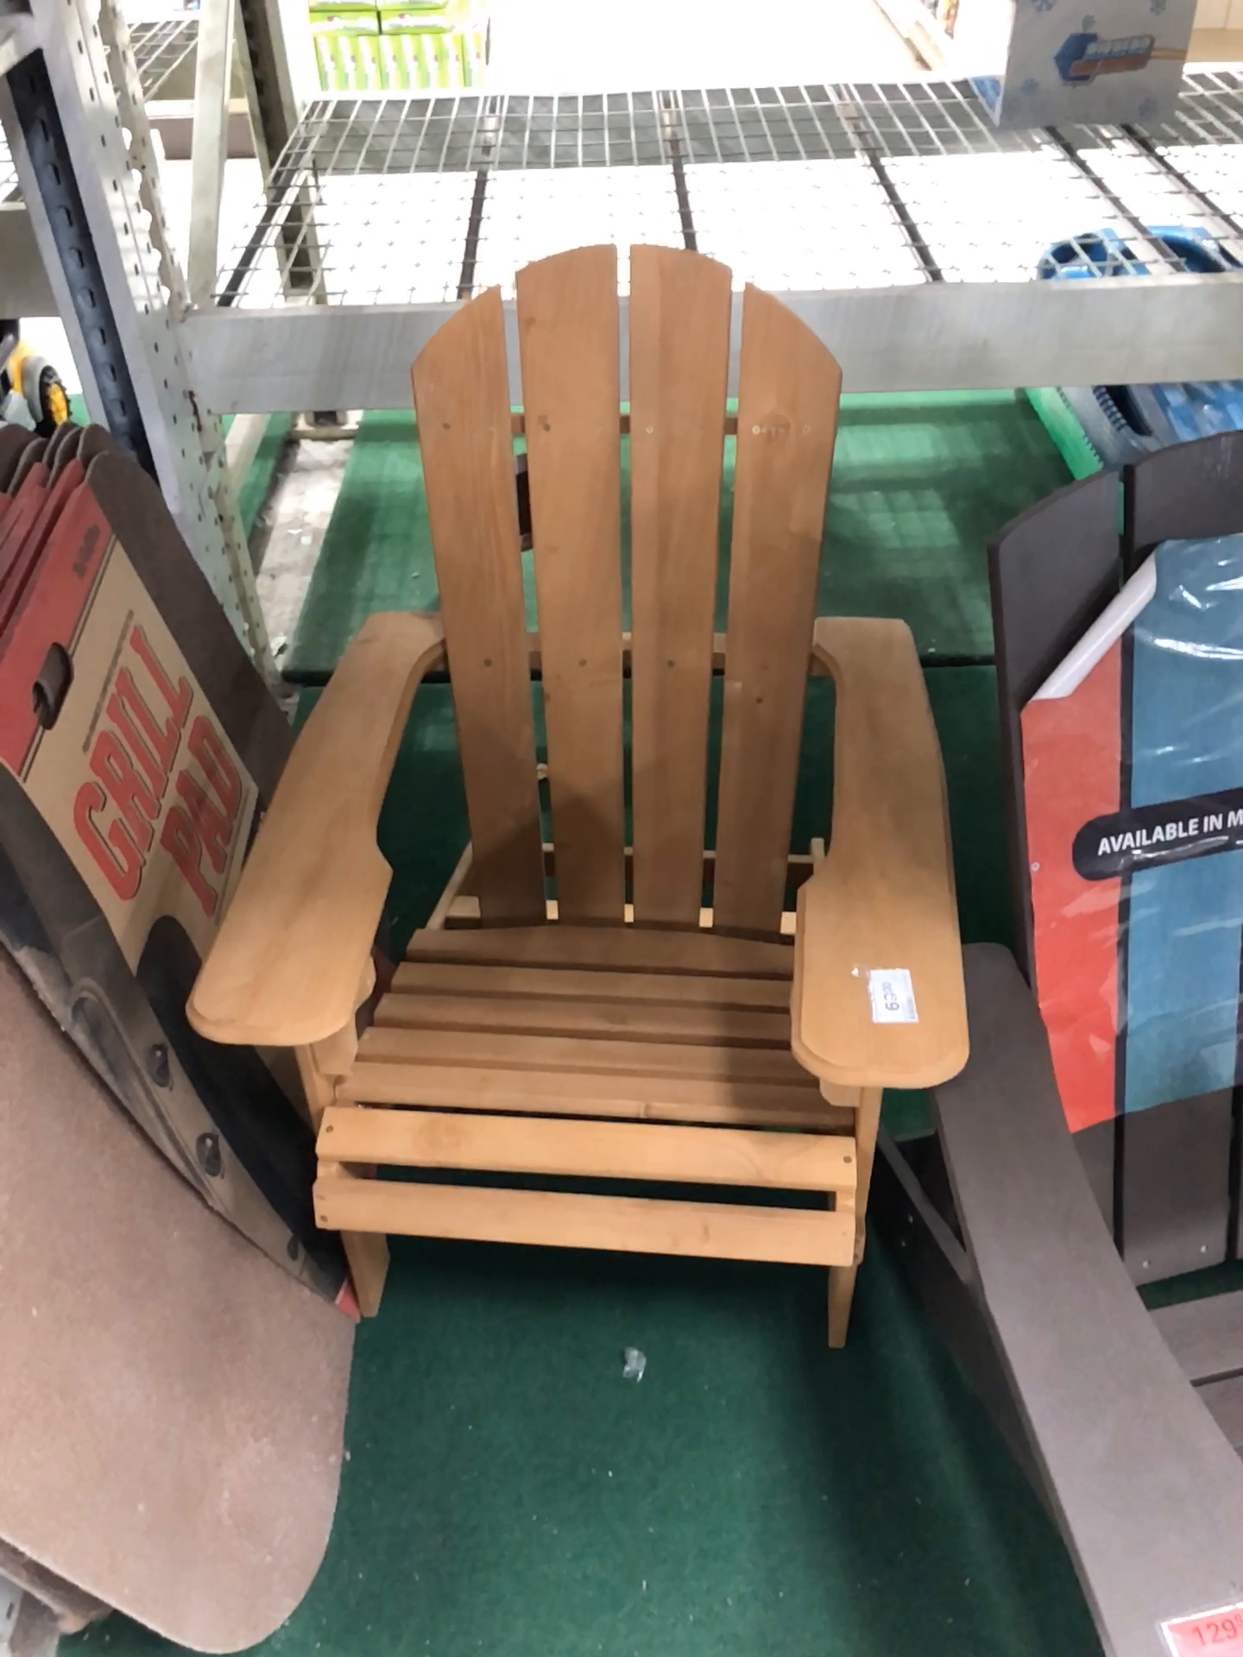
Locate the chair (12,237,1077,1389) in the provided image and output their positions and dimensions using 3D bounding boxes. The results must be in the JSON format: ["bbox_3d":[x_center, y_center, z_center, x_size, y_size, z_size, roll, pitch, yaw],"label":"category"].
[{"bbox_3d":[-0.014,-0.011,1.363,0.641,0.885,0.690,3,42,5],"label":"chair"}]
